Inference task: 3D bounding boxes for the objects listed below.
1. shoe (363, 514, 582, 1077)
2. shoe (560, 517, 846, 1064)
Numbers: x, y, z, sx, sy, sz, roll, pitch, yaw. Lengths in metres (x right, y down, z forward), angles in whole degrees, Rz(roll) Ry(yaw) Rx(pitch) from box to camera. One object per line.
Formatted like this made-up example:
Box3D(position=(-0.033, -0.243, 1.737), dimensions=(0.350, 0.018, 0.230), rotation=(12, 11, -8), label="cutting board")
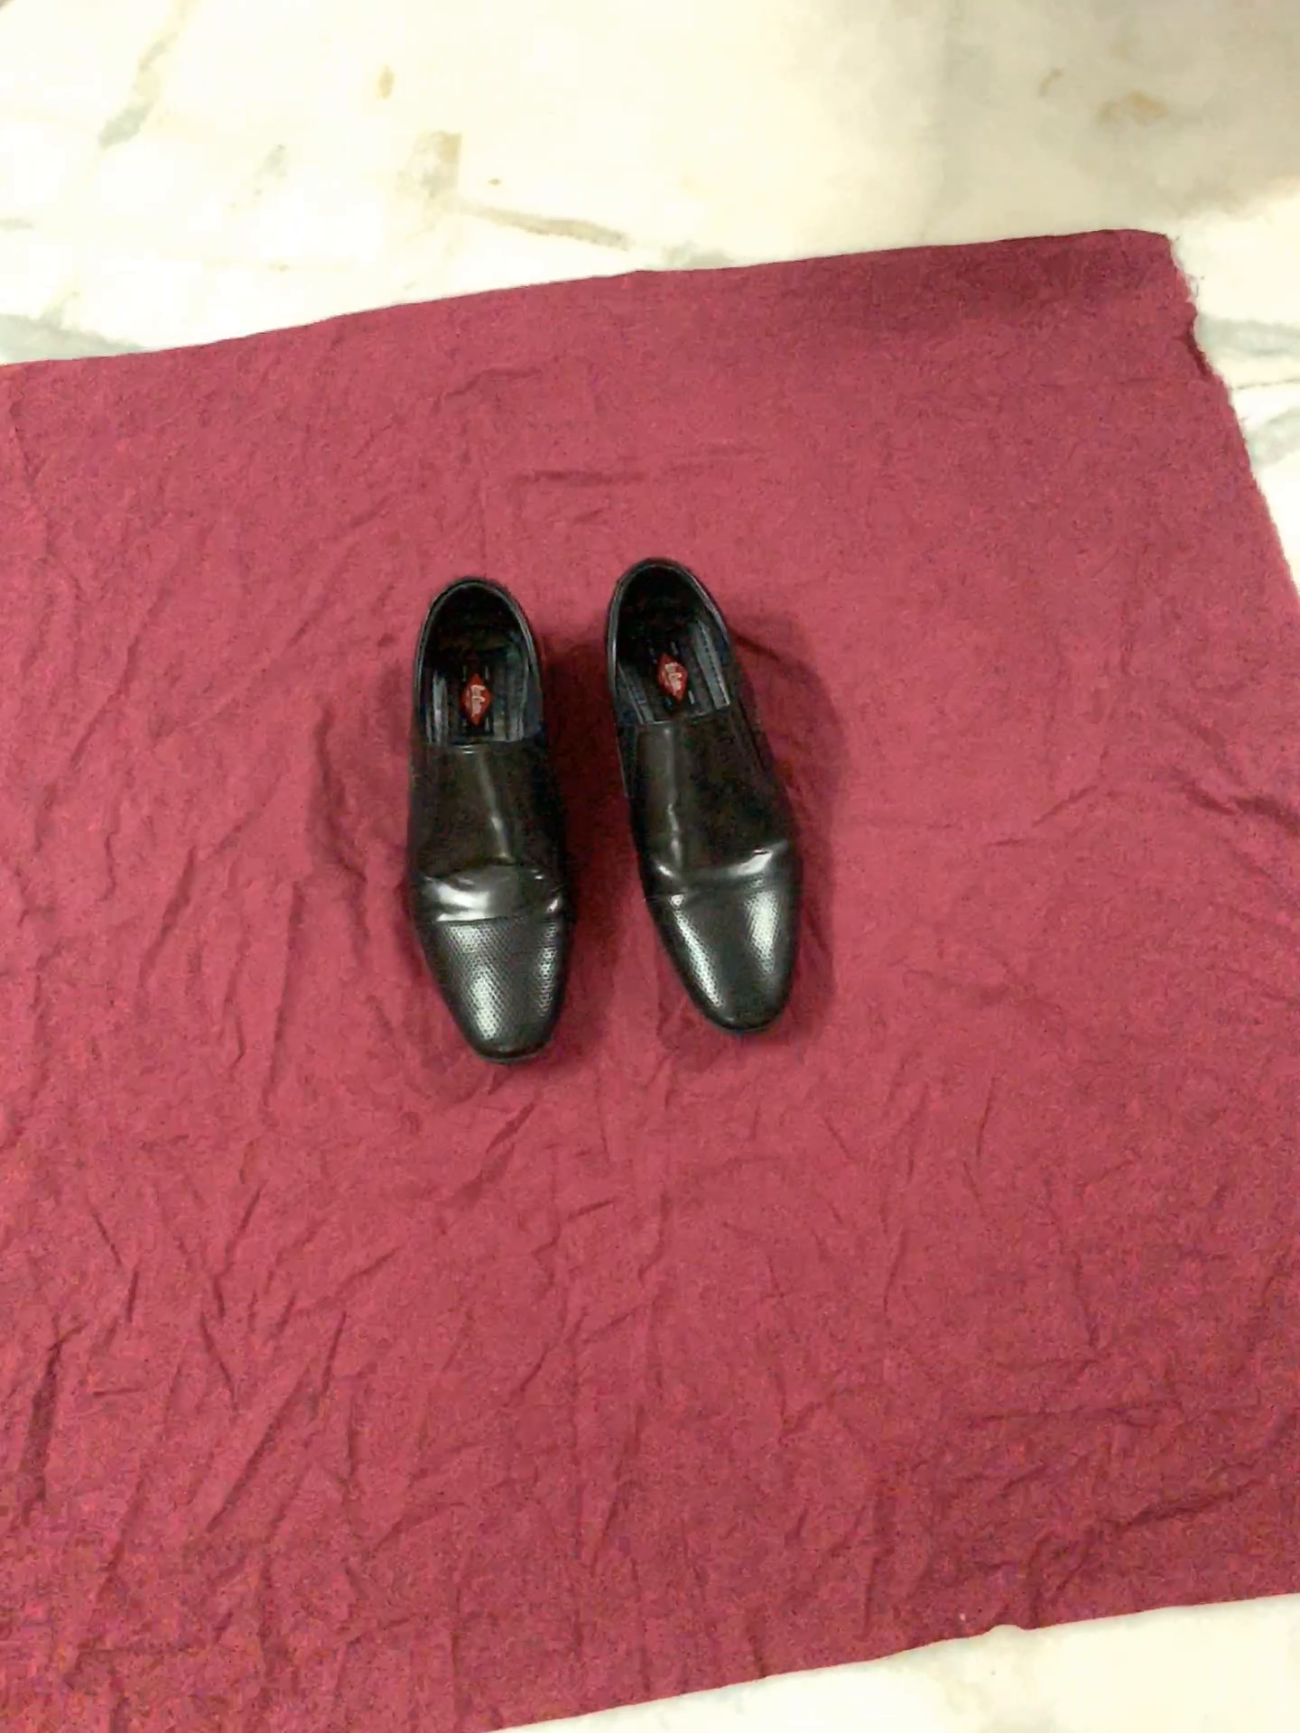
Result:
Box3D(position=(-0.098, -0.043, 0.756), dimensions=(0.100, 0.100, 0.301), rotation=(-4, 67, 0), label="shoe")
Box3D(position=(0.024, -0.047, 0.774), dimensions=(0.100, 0.100, 0.291), rotation=(-10, 68, -3), label="shoe")
